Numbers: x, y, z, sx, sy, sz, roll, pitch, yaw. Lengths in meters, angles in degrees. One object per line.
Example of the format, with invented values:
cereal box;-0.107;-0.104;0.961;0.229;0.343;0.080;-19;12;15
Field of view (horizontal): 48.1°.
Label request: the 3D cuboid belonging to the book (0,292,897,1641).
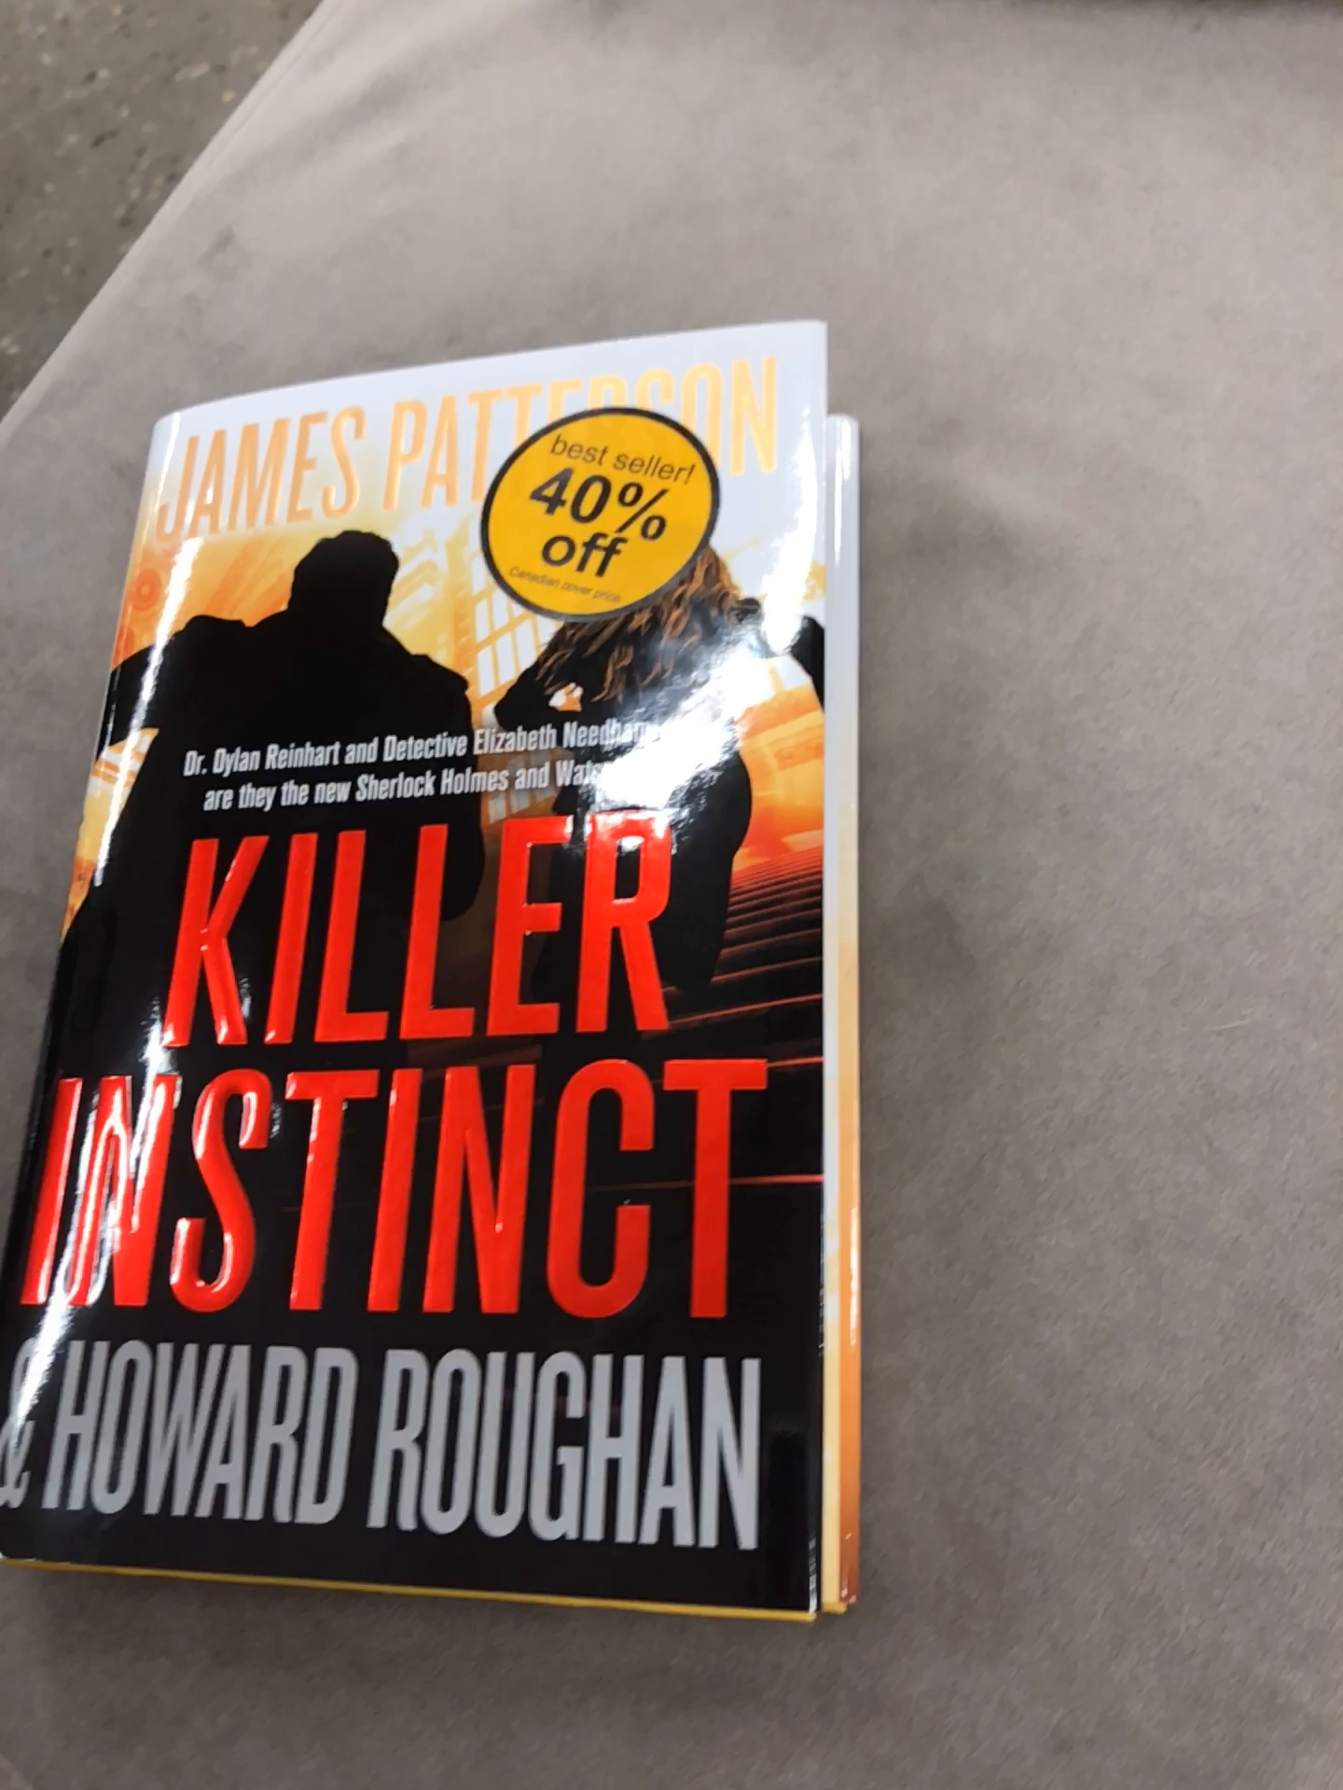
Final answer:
book;-0.045;0.004;0.291;0.172;0.038;0.237;-2;70;14
